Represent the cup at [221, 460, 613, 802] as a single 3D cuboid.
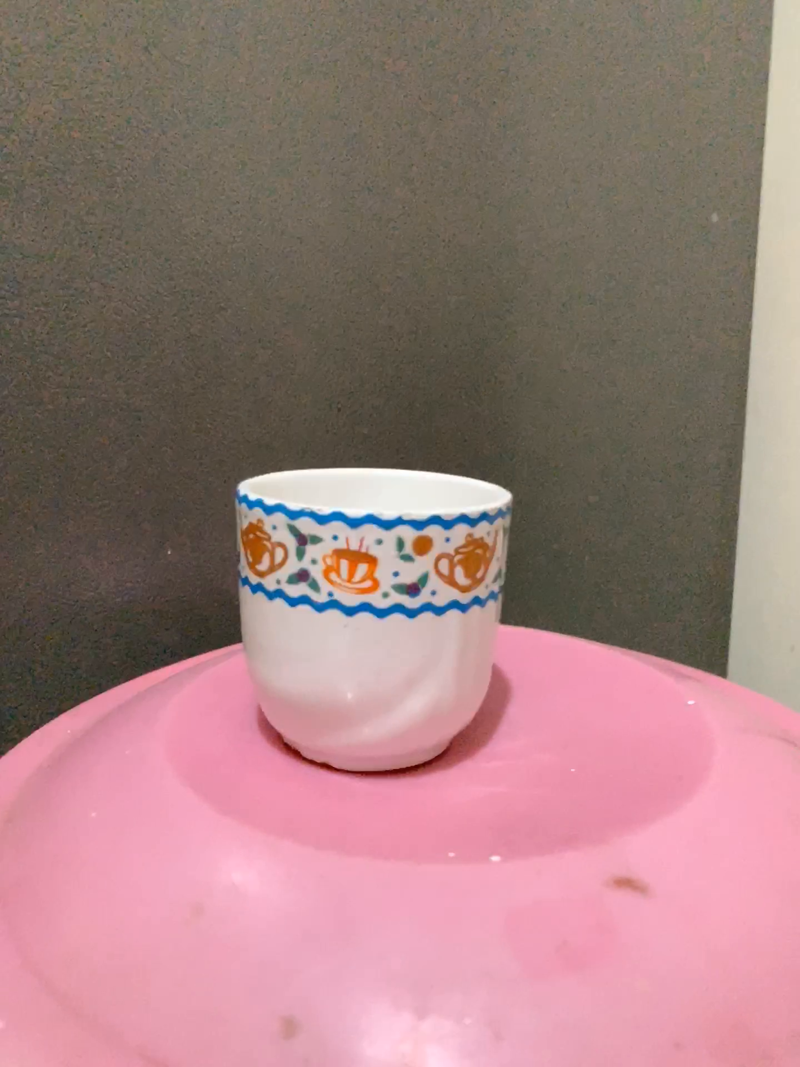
[{"bbox_3d":[0.000,0.016,0.212,0.075,0.062,0.072,0,9,0],"label":"cup"}]
